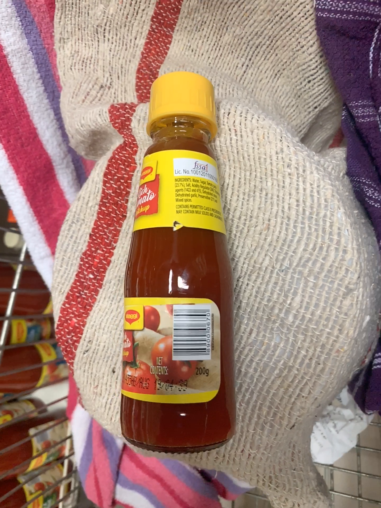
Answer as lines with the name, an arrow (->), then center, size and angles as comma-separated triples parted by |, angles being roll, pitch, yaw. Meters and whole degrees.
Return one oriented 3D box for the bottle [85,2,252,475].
bottle -> -0.011, -0.008, 0.175 | 0.050, 0.050, 0.170 | -11, 77, 55
